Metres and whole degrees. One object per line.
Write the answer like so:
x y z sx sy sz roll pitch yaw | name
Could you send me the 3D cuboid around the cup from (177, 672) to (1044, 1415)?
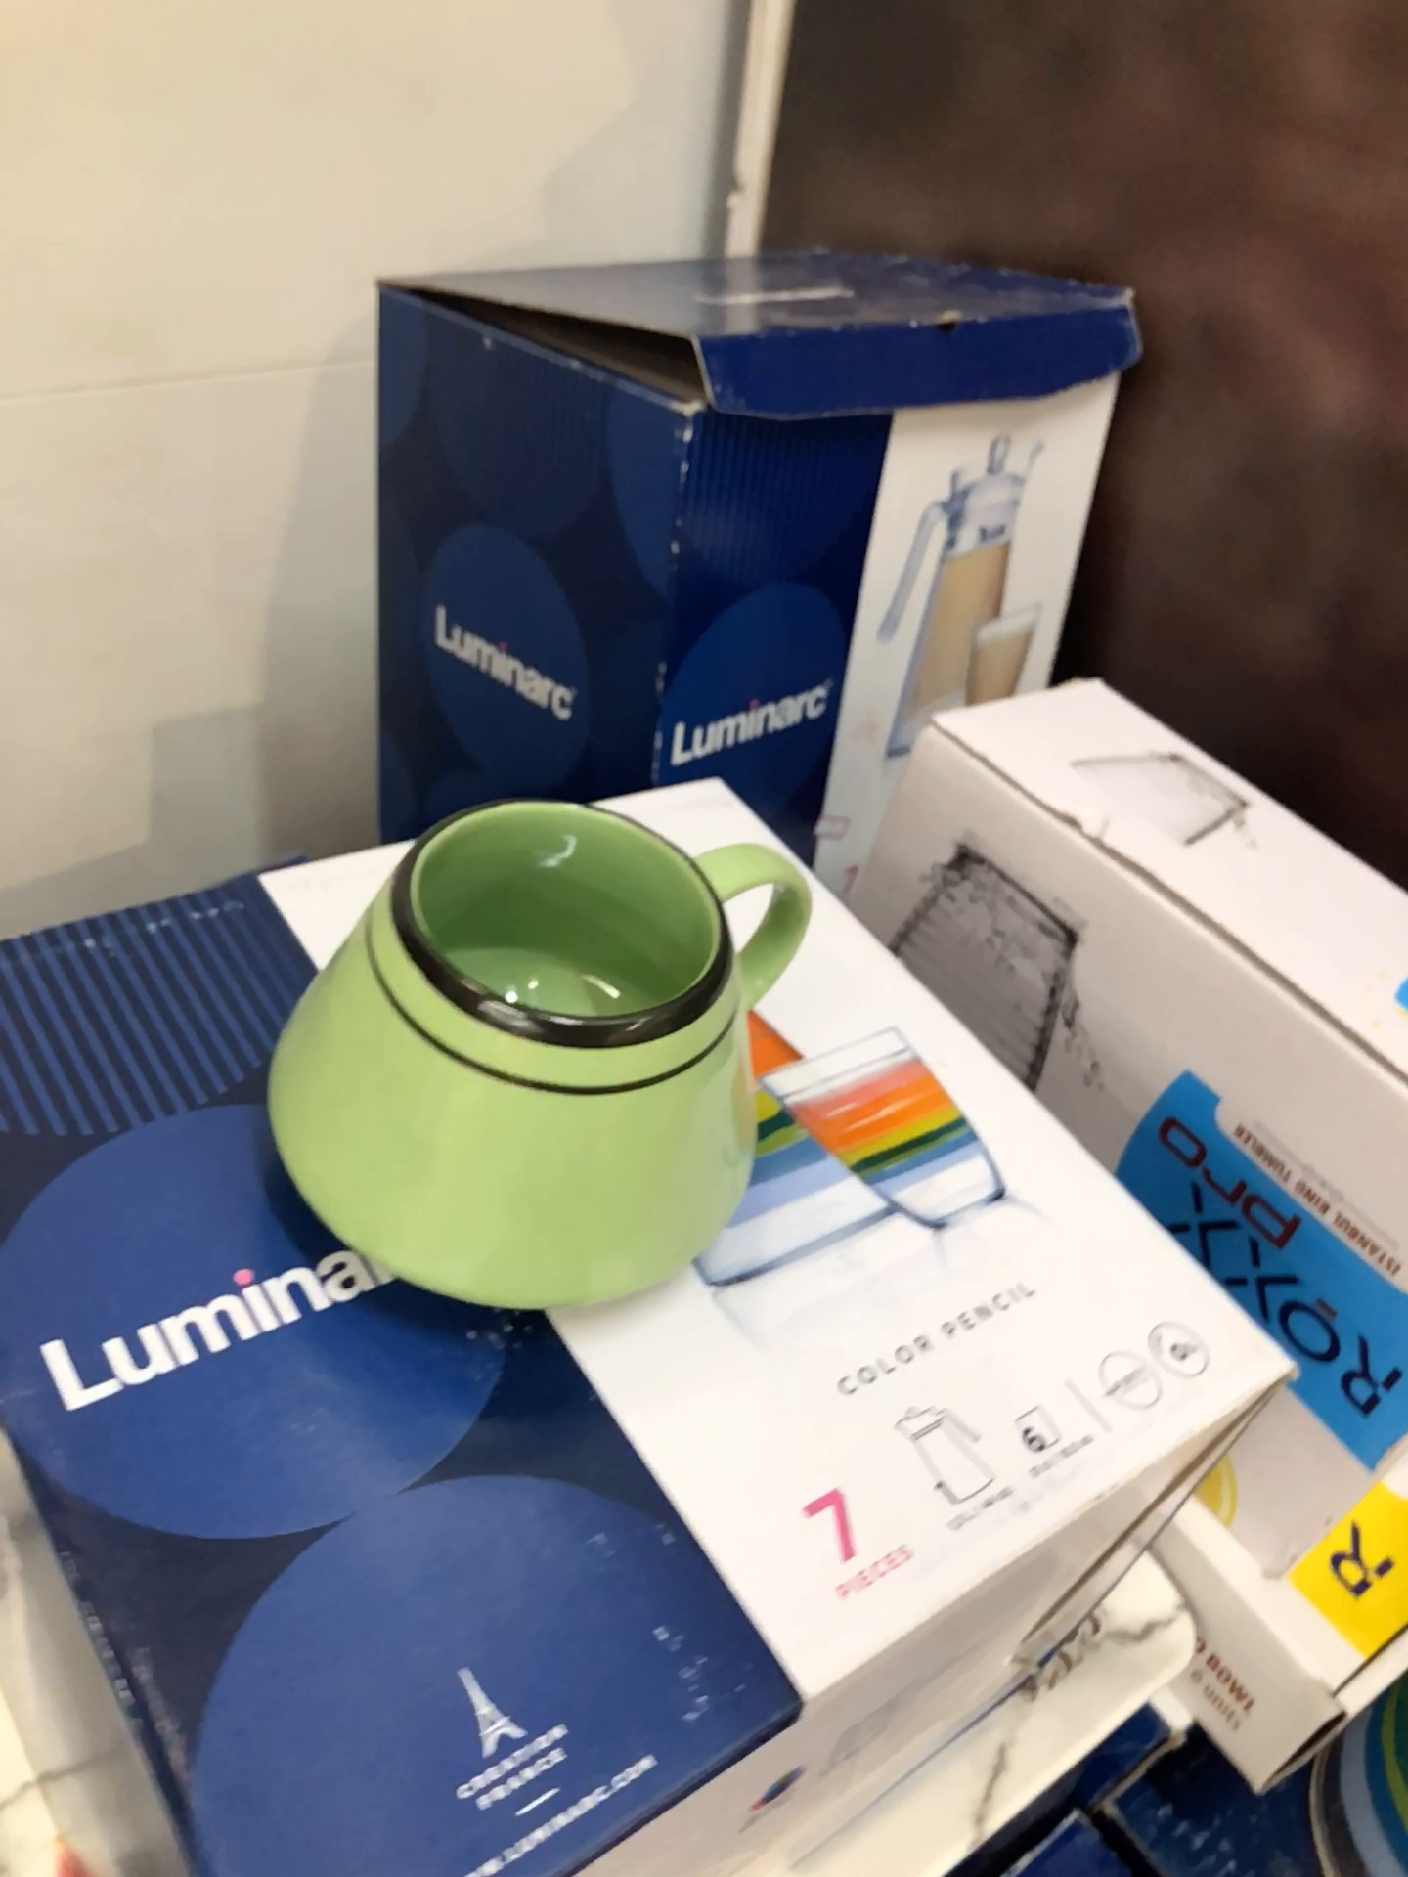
-0.022 0.011 0.342 0.141 0.070 0.110 -19 45 -32 | cup
